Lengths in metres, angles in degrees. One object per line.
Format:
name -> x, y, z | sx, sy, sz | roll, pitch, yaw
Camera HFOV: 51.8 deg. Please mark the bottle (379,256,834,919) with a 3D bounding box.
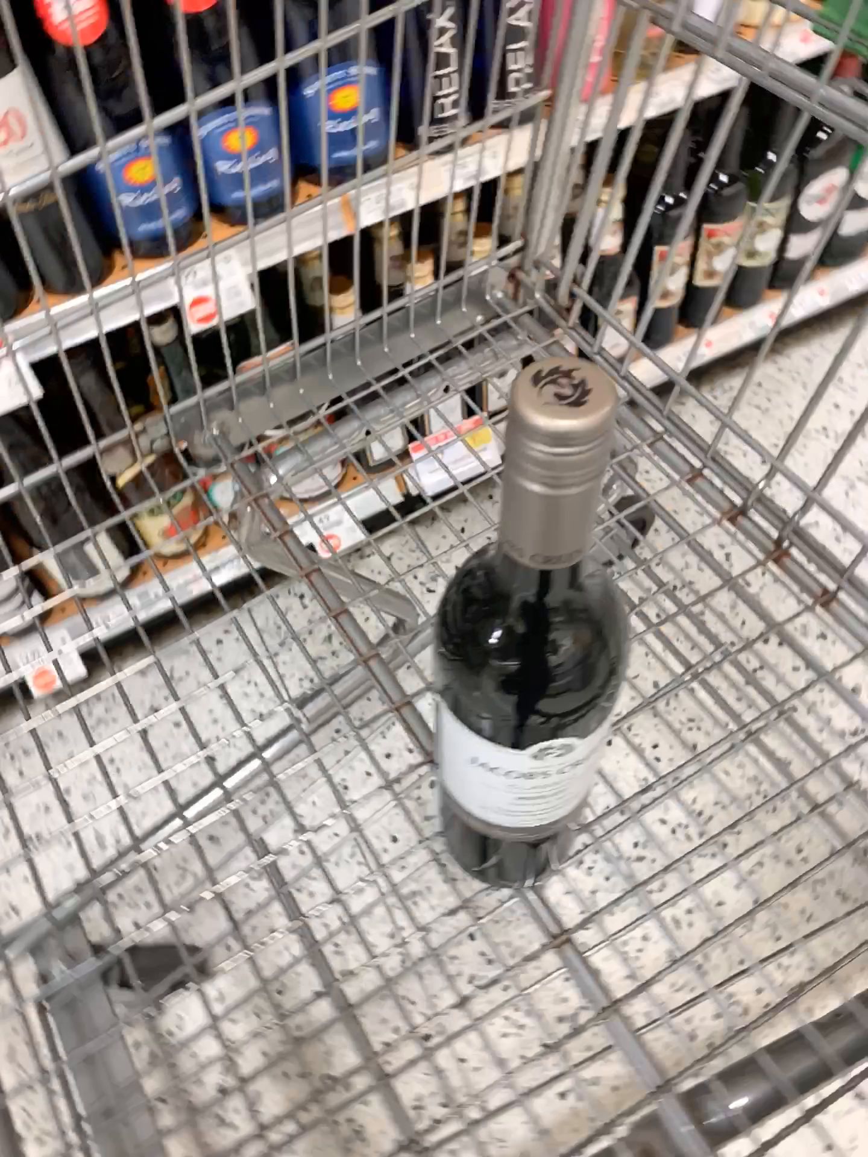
bottle -> 0.043, 0.040, 0.364 | 0.090, 0.317, 0.091 | 0, 55, 1
